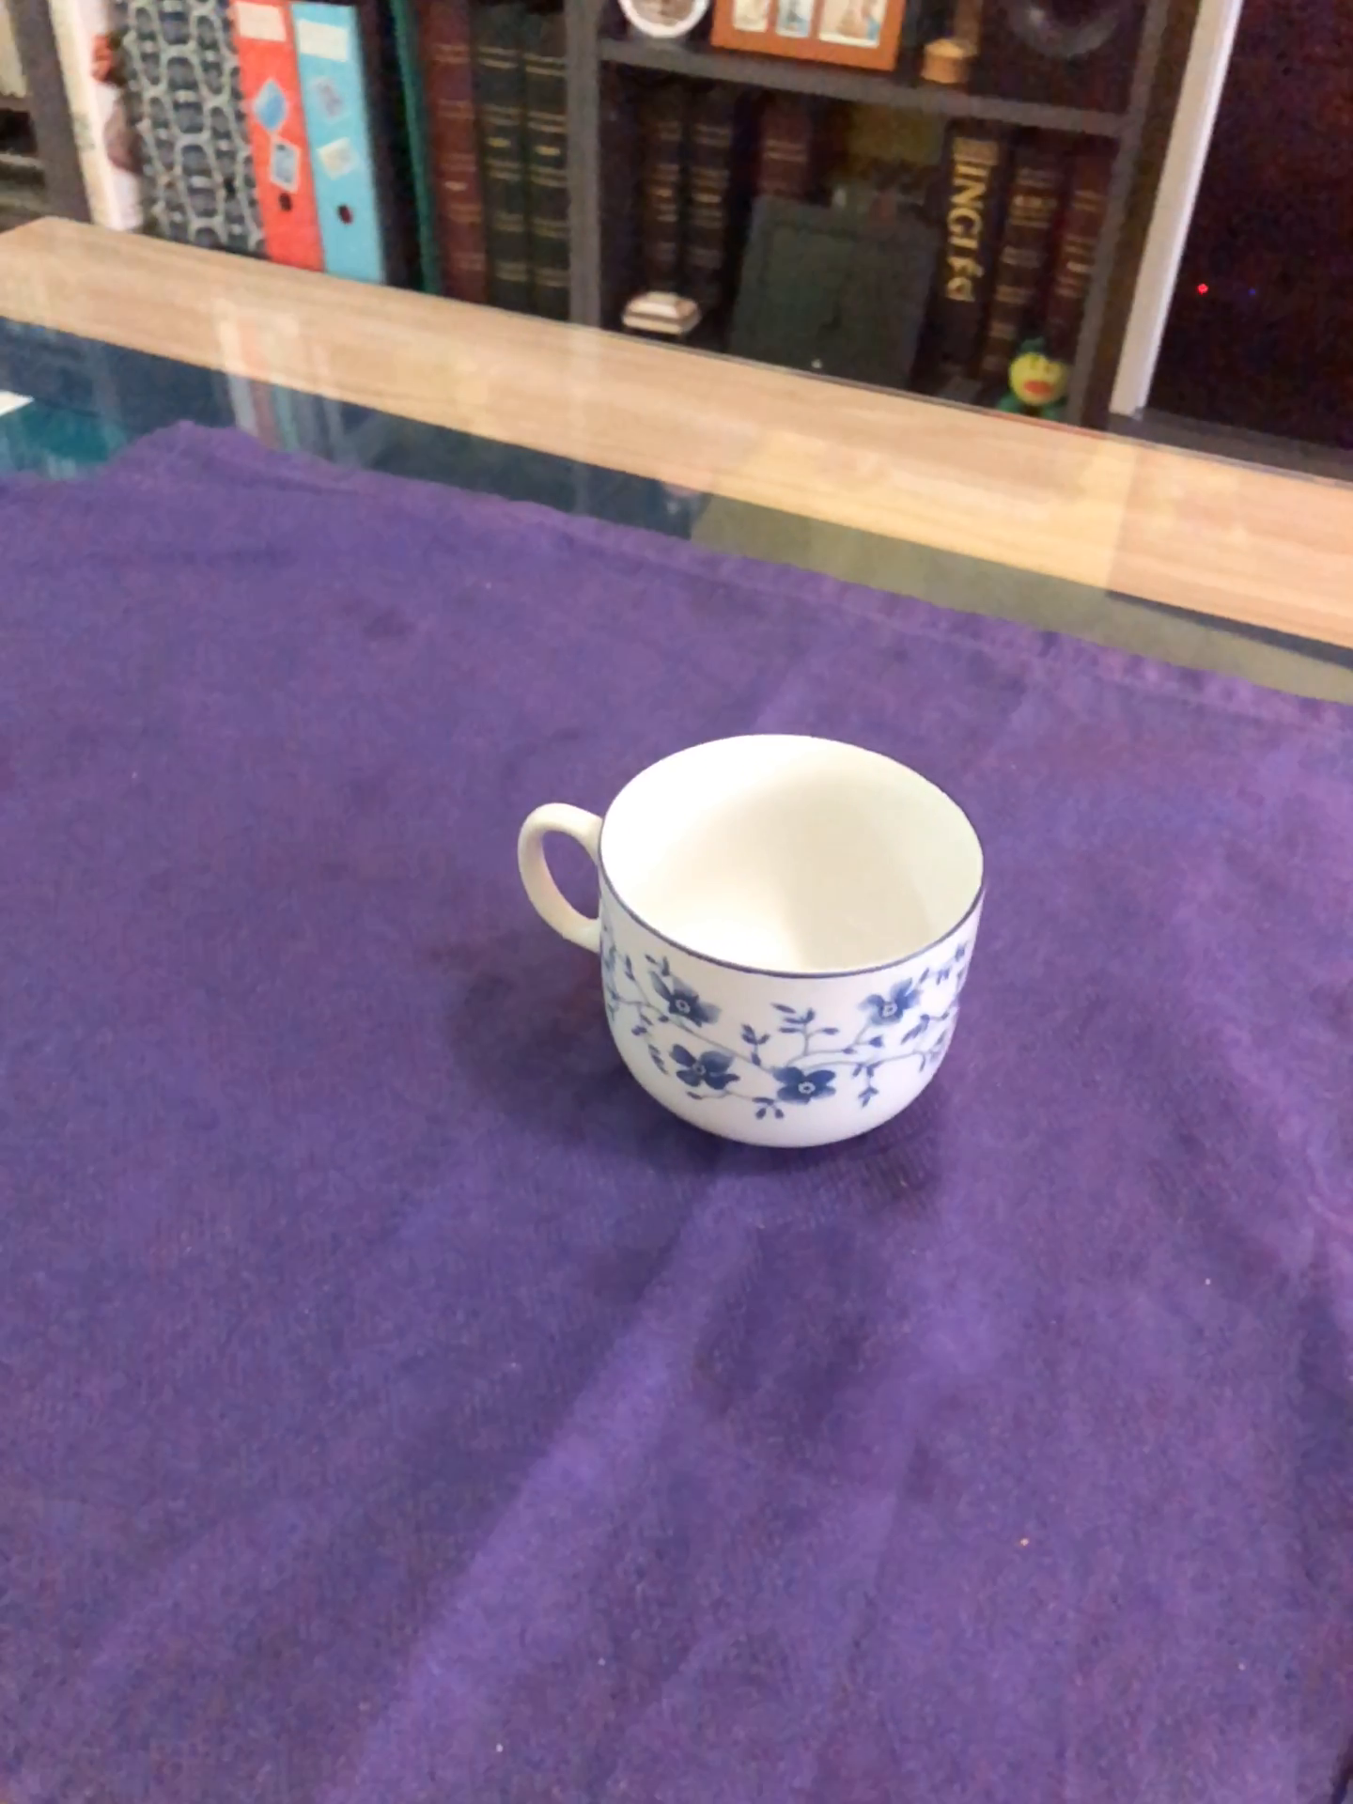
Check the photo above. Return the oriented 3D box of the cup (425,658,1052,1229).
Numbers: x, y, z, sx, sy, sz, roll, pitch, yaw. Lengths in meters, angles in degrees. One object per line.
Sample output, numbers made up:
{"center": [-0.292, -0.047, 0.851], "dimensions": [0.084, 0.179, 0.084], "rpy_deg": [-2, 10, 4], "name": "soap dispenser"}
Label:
{"center": [0.013, 0.005, 0.305], "dimensions": [0.100, 0.060, 0.070], "rpy_deg": [17, 43, 17], "name": "cup"}
